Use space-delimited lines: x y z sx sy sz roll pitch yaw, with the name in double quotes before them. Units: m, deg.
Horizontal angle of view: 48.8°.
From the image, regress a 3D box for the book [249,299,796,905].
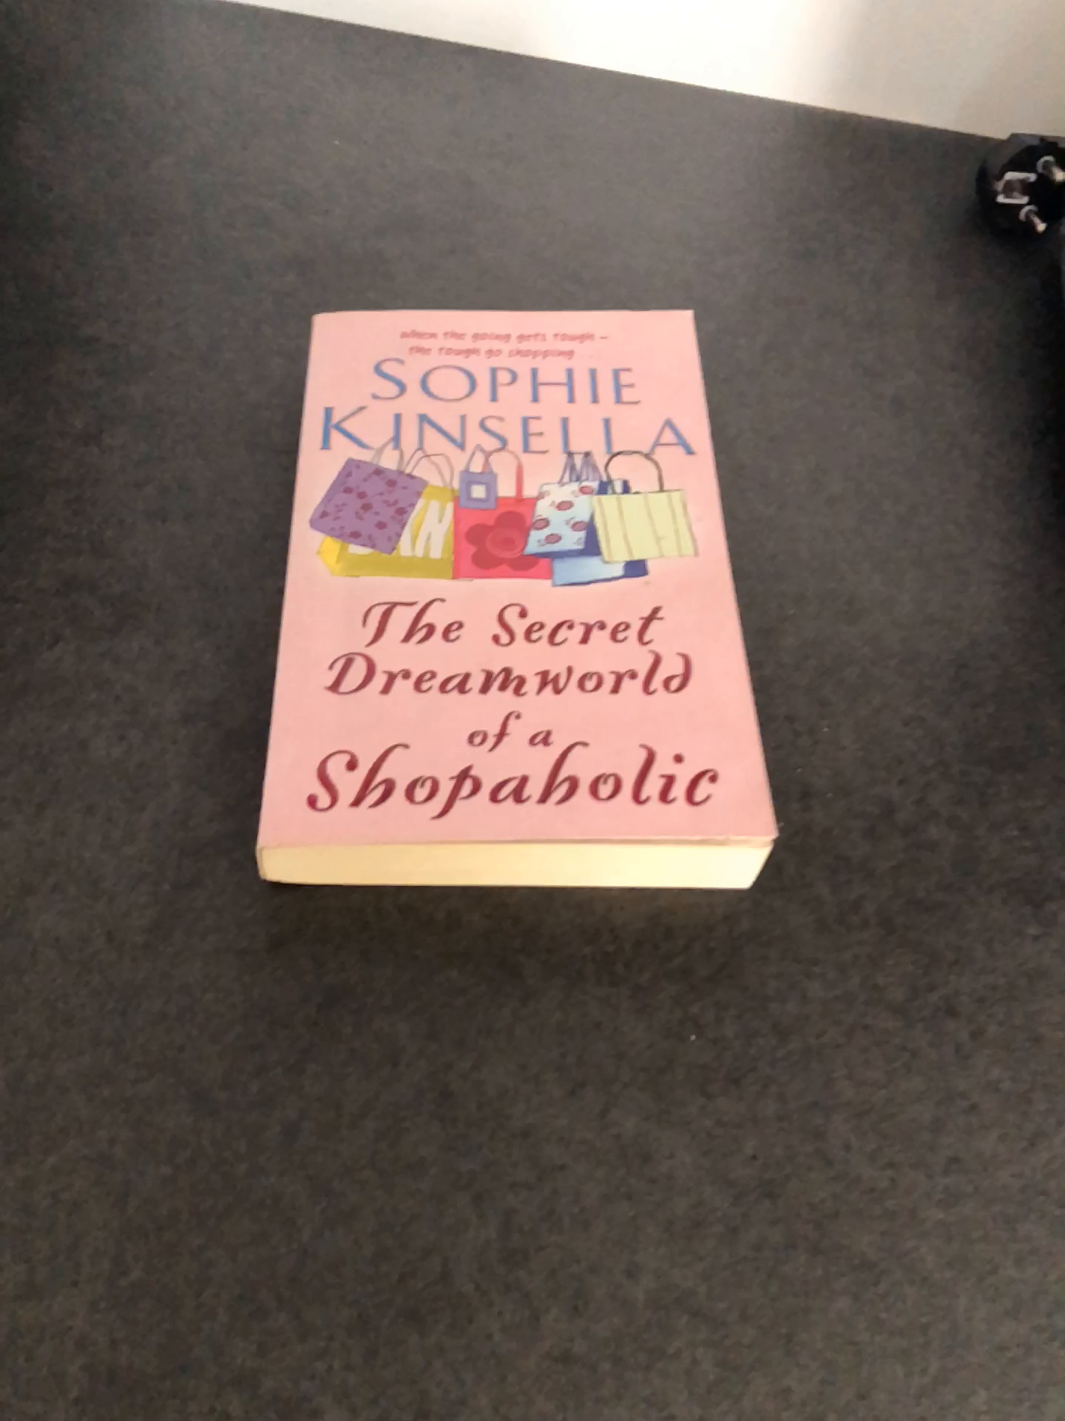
"book" -0.006 -0.042 0.346 0.130 0.030 0.201 1 56 -5
